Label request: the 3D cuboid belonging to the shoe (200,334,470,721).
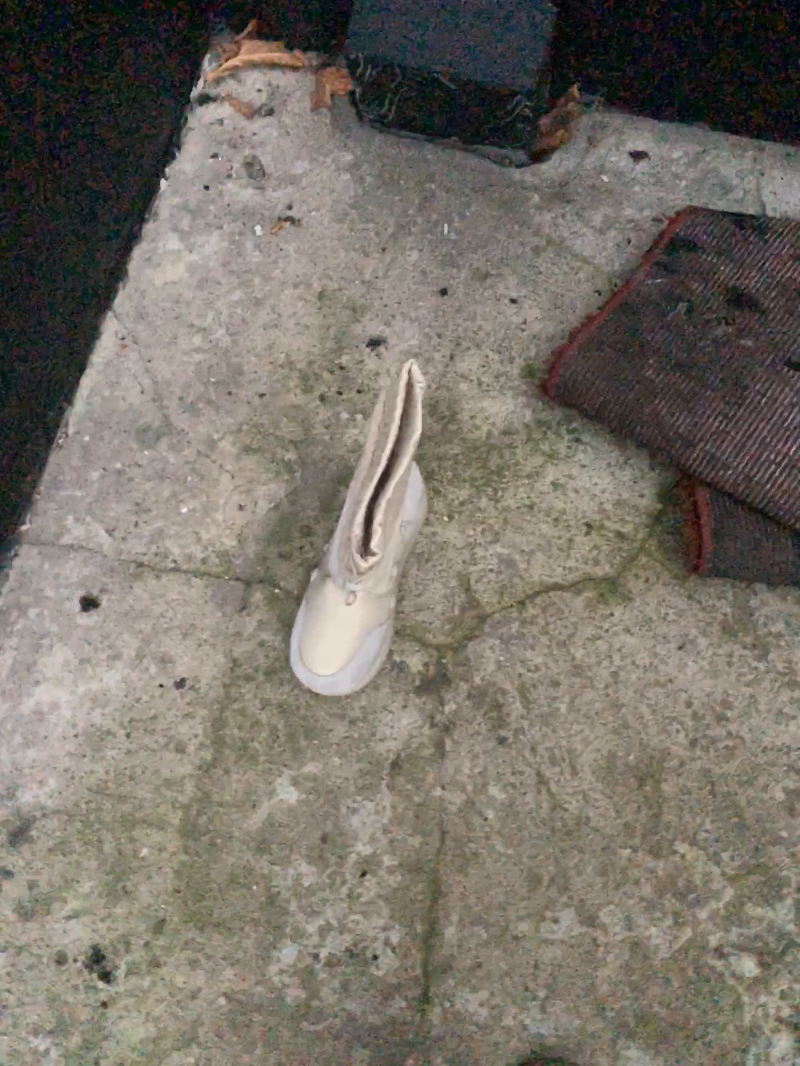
[{"bbox_3d":[-0.036,0.021,0.766,0.120,0.309,0.271,18,77,8],"label":"shoe"}]
